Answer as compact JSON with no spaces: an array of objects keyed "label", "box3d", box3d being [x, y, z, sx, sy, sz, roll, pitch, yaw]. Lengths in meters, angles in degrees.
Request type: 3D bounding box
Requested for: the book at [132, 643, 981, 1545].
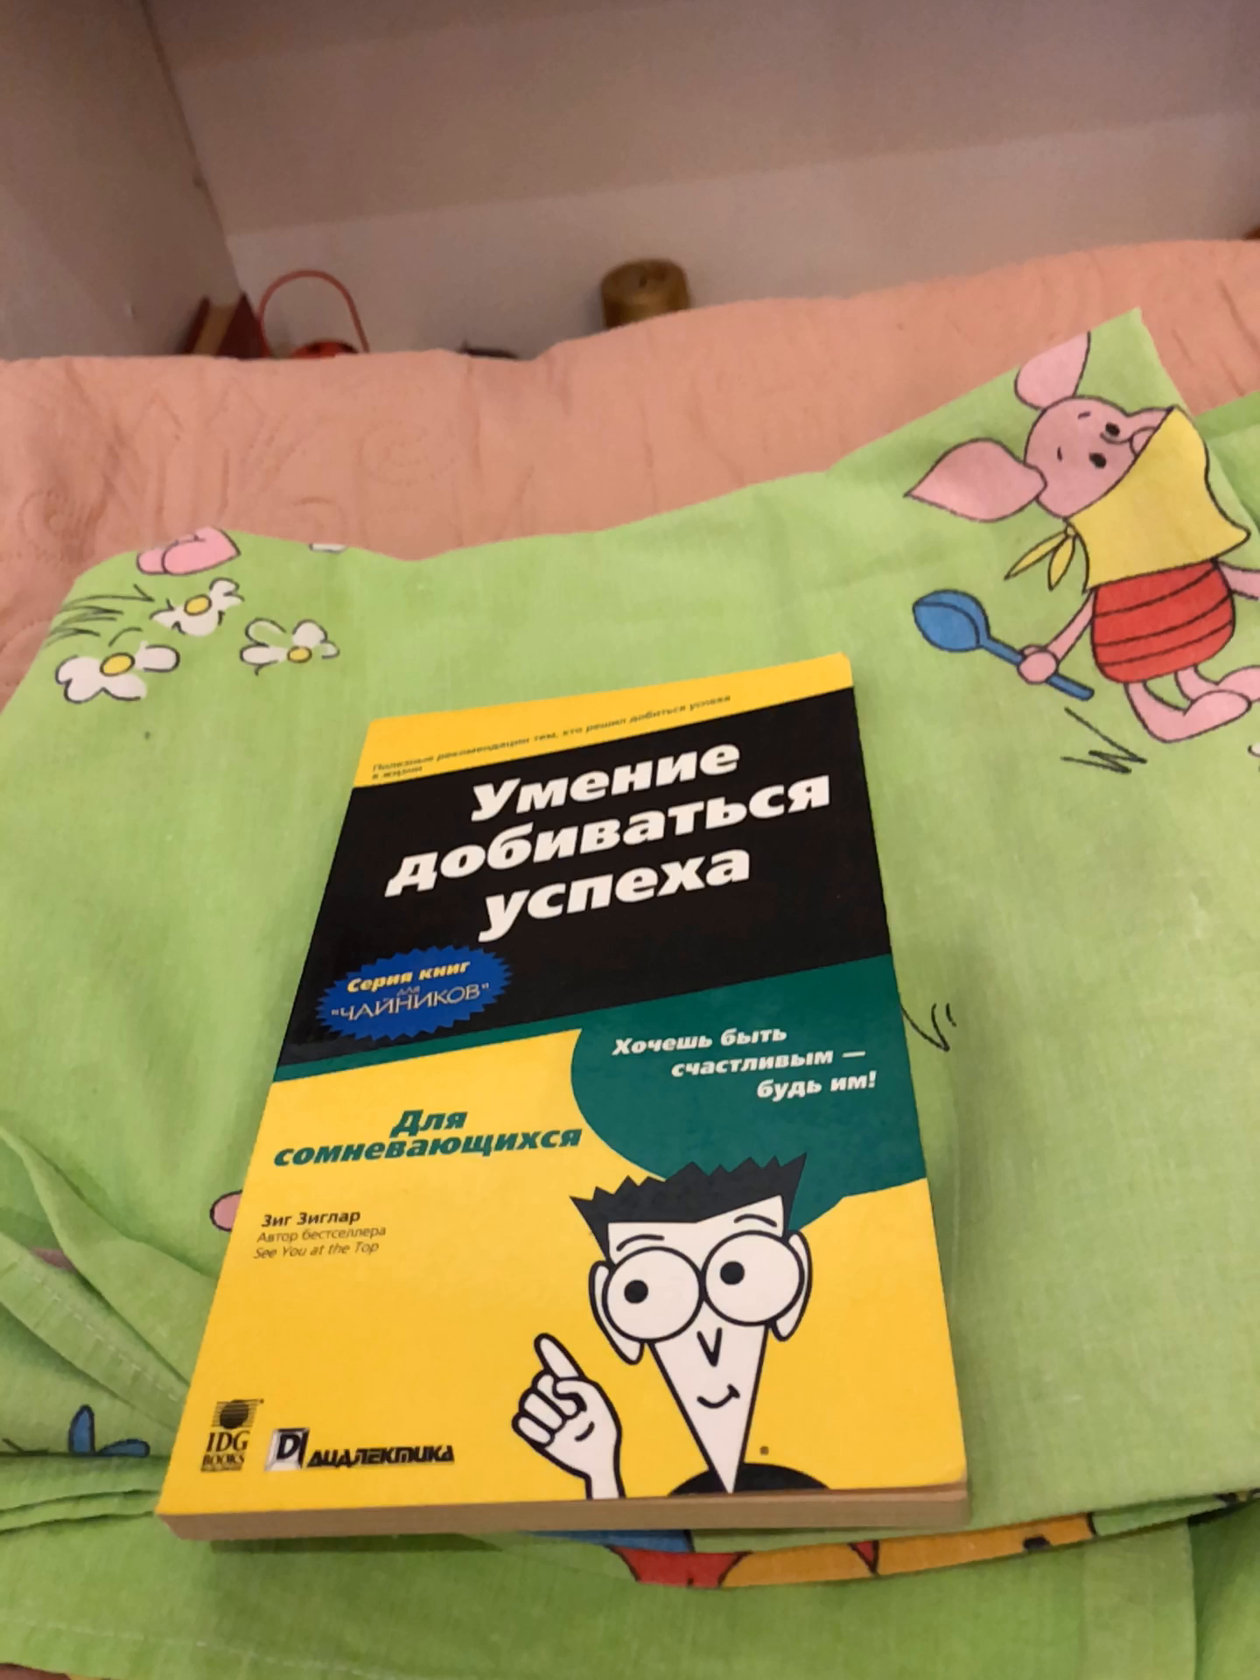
[{"label":"book","box3d":[-0.010,0.032,0.275,0.125,0.015,0.192,-7,43,9]}]
